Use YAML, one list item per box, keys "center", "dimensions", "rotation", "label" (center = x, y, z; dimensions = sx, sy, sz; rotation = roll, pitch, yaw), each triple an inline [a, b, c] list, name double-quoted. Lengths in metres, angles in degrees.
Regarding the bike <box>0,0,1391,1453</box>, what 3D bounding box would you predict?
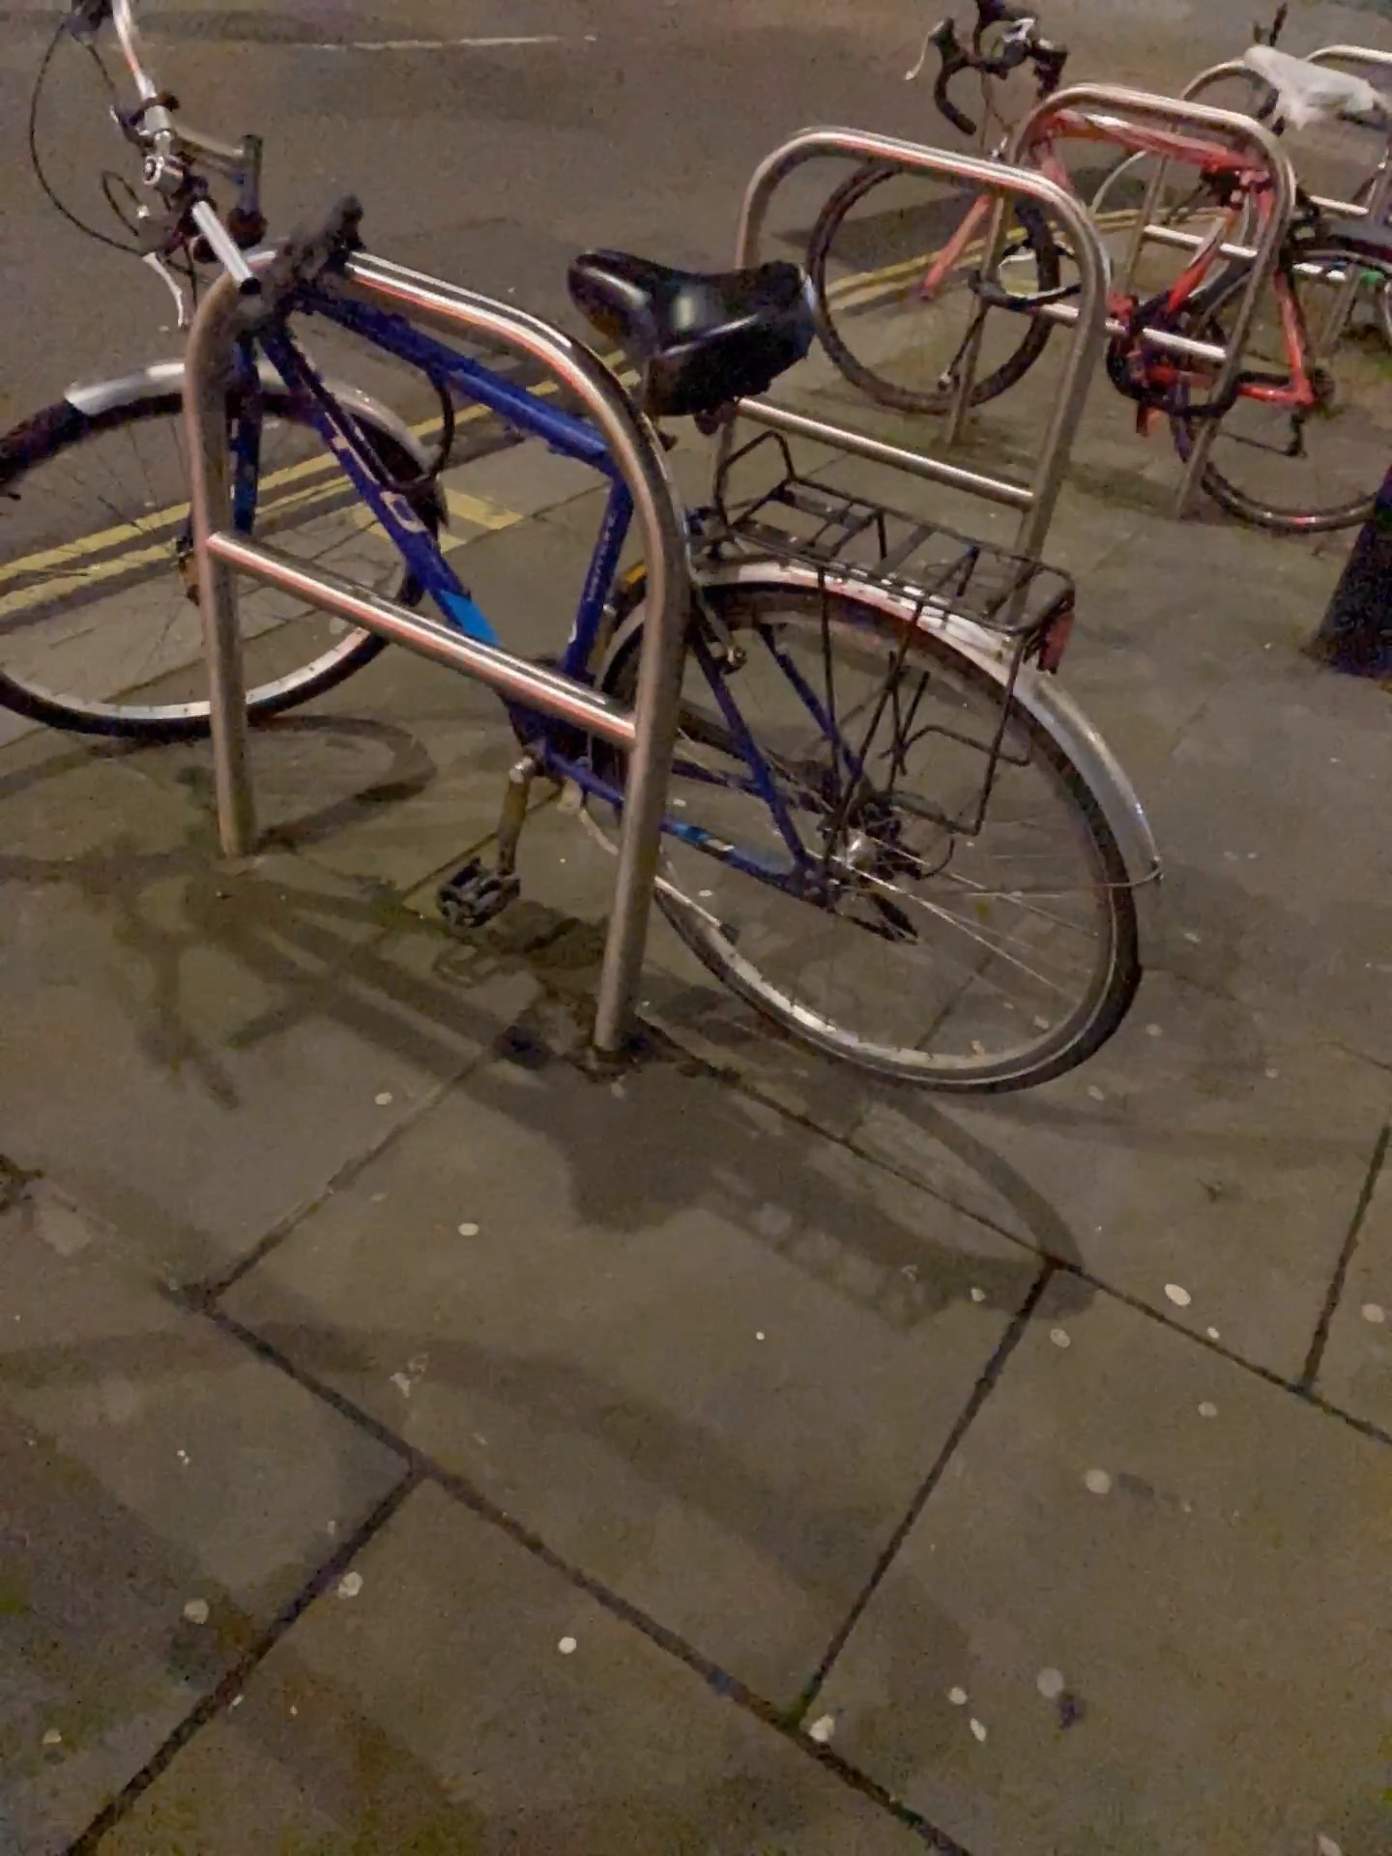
- center: [-0.240, -0.364, 1.498]
  dimensions: [1.594, 1.108, 0.659]
  rotation: [22, 41, 13]
  label: "bike"
